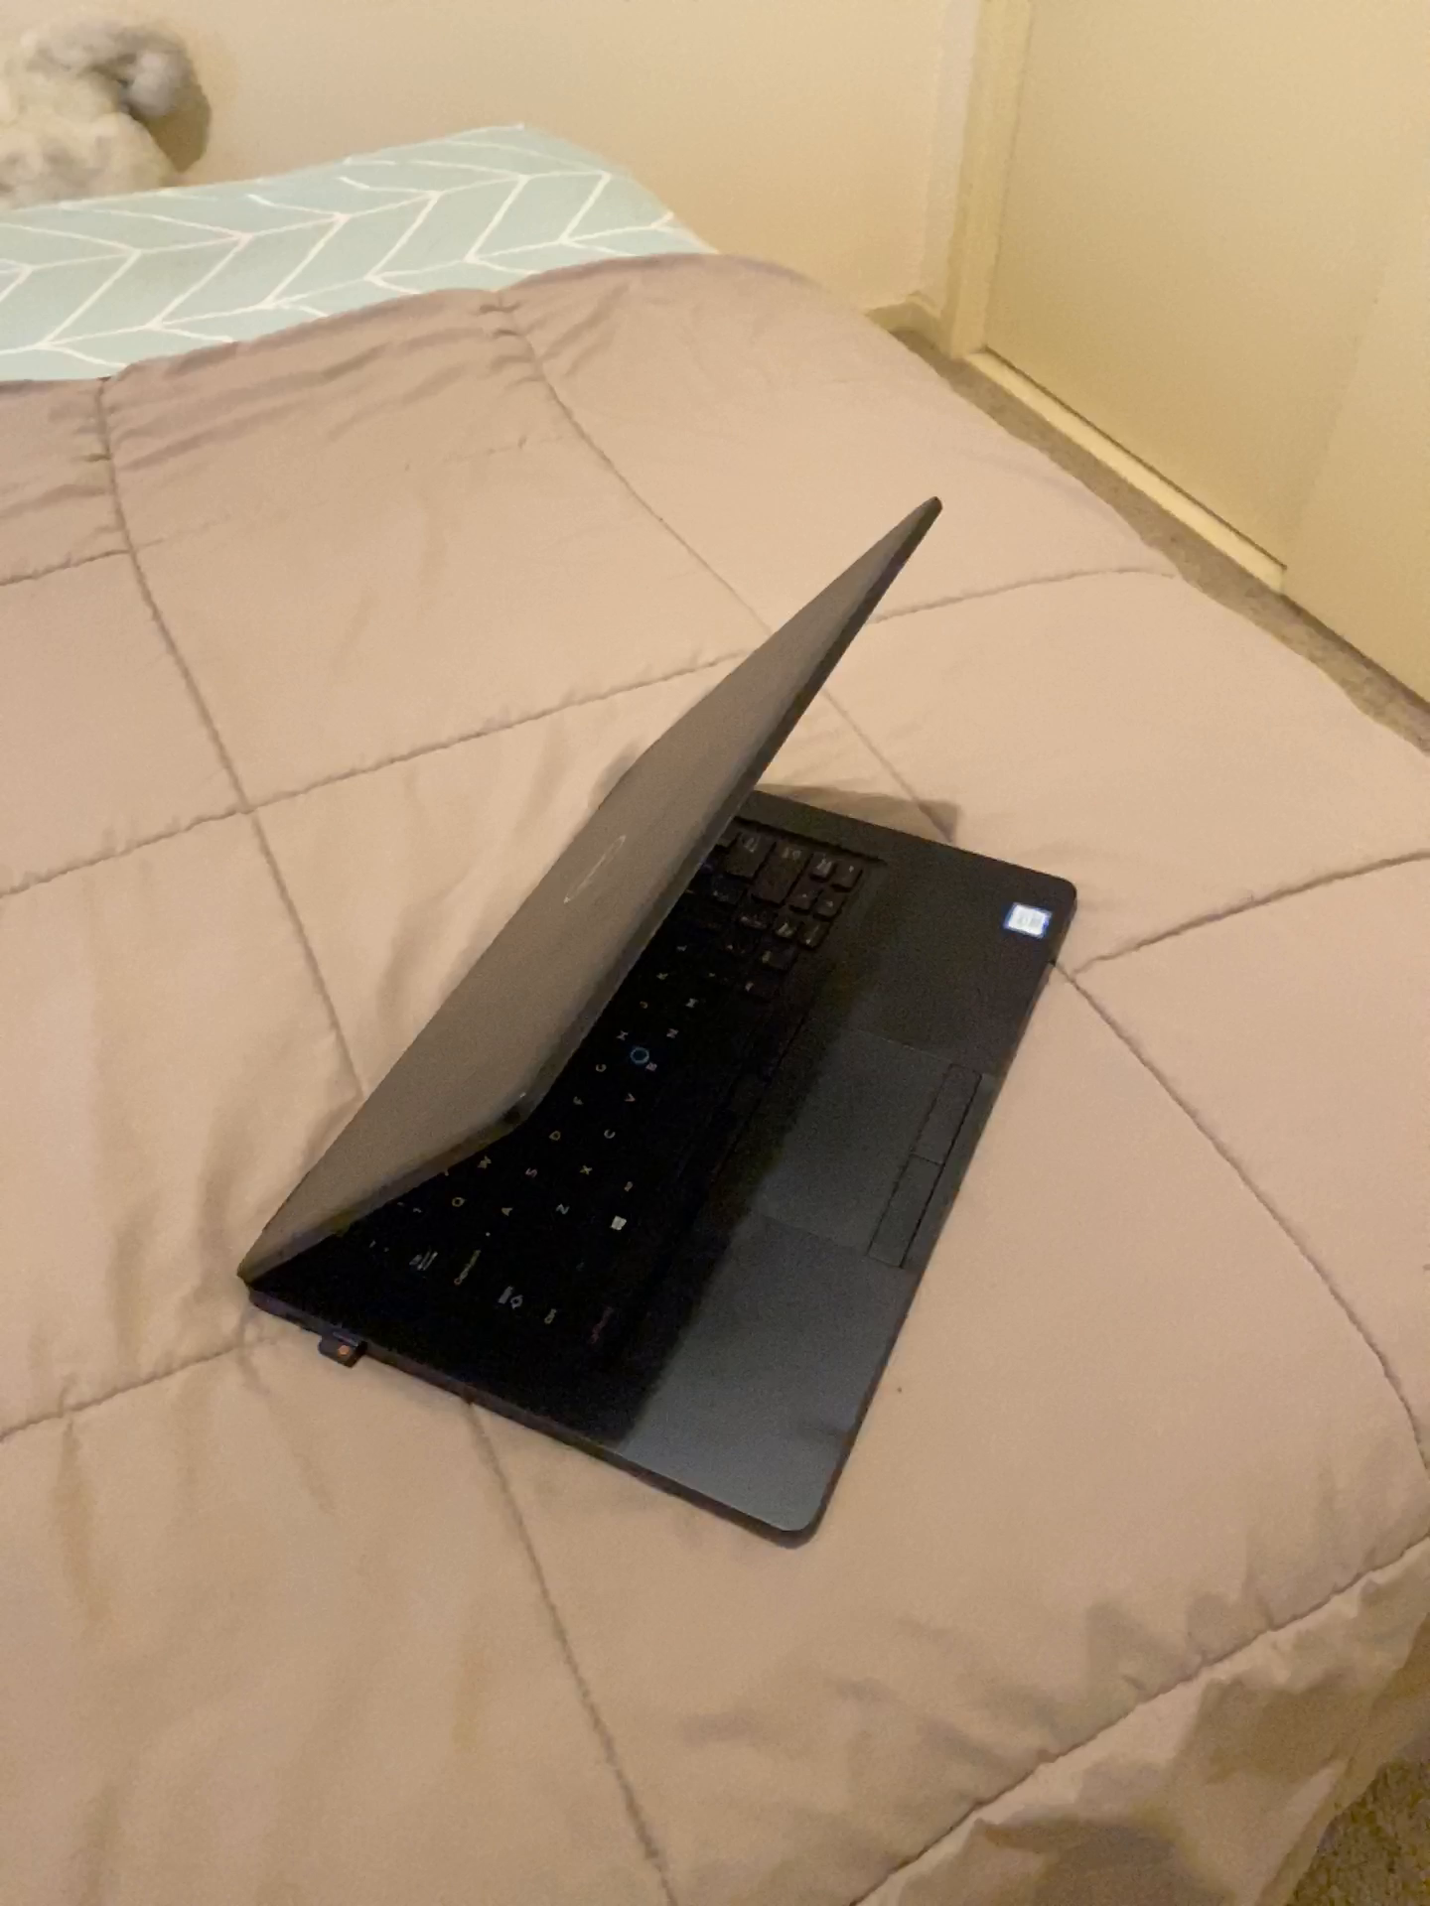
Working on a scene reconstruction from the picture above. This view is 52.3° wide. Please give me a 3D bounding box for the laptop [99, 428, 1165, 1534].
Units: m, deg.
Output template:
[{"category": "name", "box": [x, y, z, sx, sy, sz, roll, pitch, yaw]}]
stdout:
[{"category": "laptop", "box": [-0.003, -0.017, 0.551, 0.226, 0.183, 0.336, 18, 50, 18]}]
